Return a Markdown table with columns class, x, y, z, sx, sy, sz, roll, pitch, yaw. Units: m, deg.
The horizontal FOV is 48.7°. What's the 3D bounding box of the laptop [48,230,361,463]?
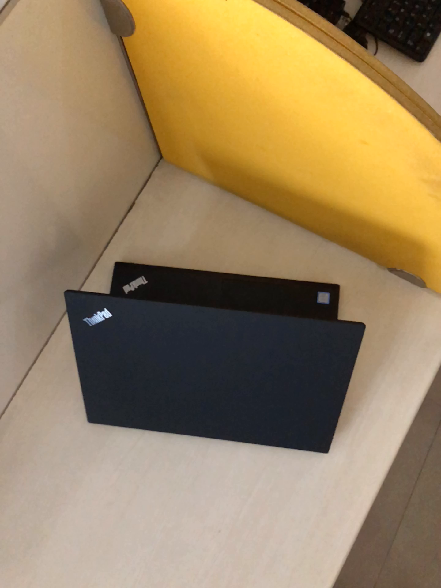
| class | x | y | z | sx | sy | sz | roll | pitch | yaw |
| --- | --- | --- | --- | --- | --- | --- | --- | --- | --- |
| laptop | -0.008 | 0.066 | 0.657 | 0.349 | 0.167 | 0.240 | 6 | 75 | 4 |
